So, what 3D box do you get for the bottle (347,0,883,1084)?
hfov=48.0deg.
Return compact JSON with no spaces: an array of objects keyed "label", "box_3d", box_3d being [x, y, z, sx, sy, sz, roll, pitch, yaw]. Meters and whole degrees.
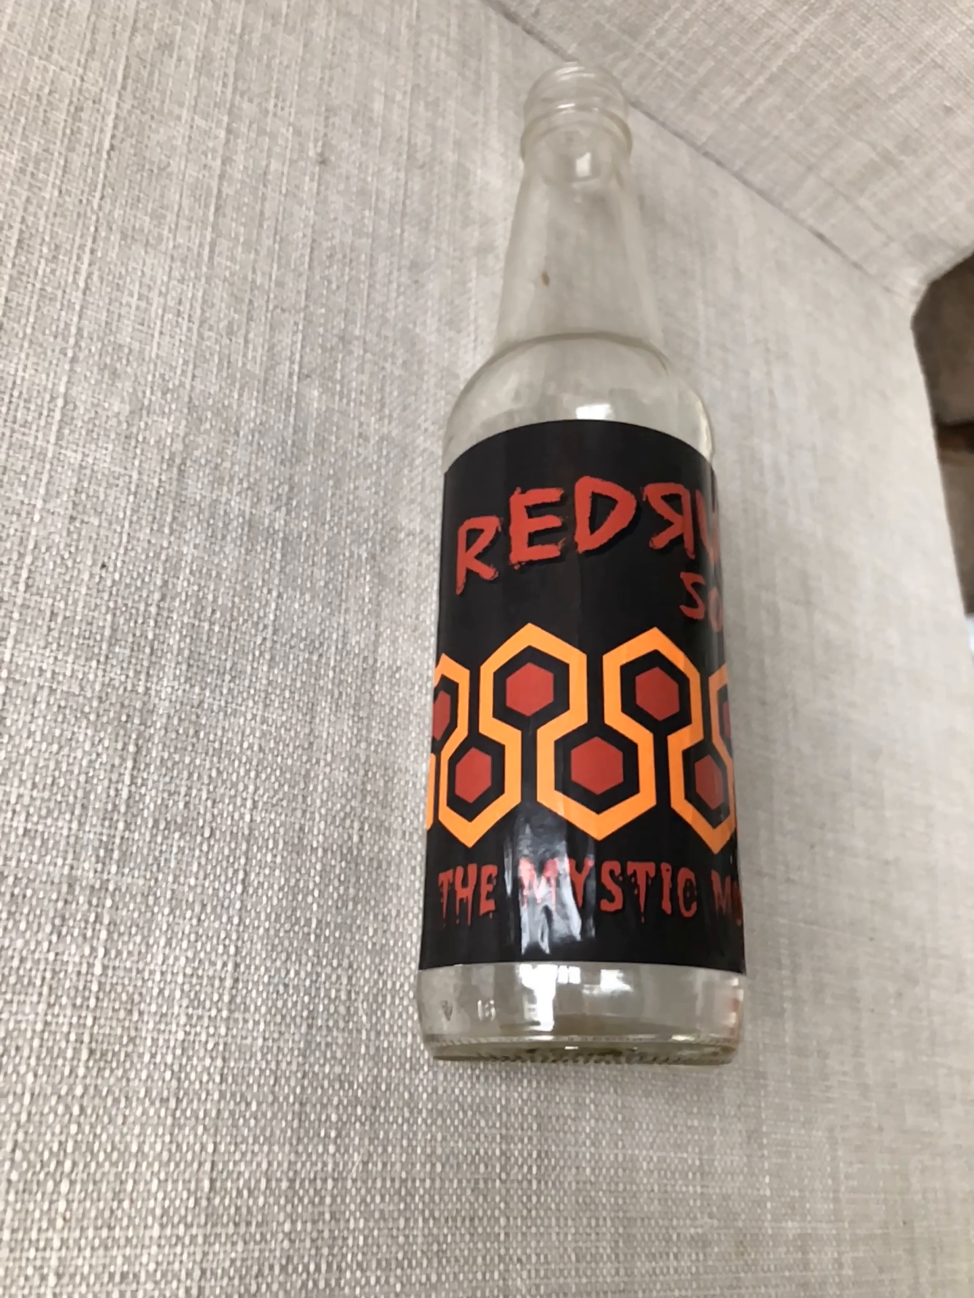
[{"label":"bottle","box_3d":[0.024,-0.034,0.230,0.063,0.069,0.231,15,66,-31]}]
